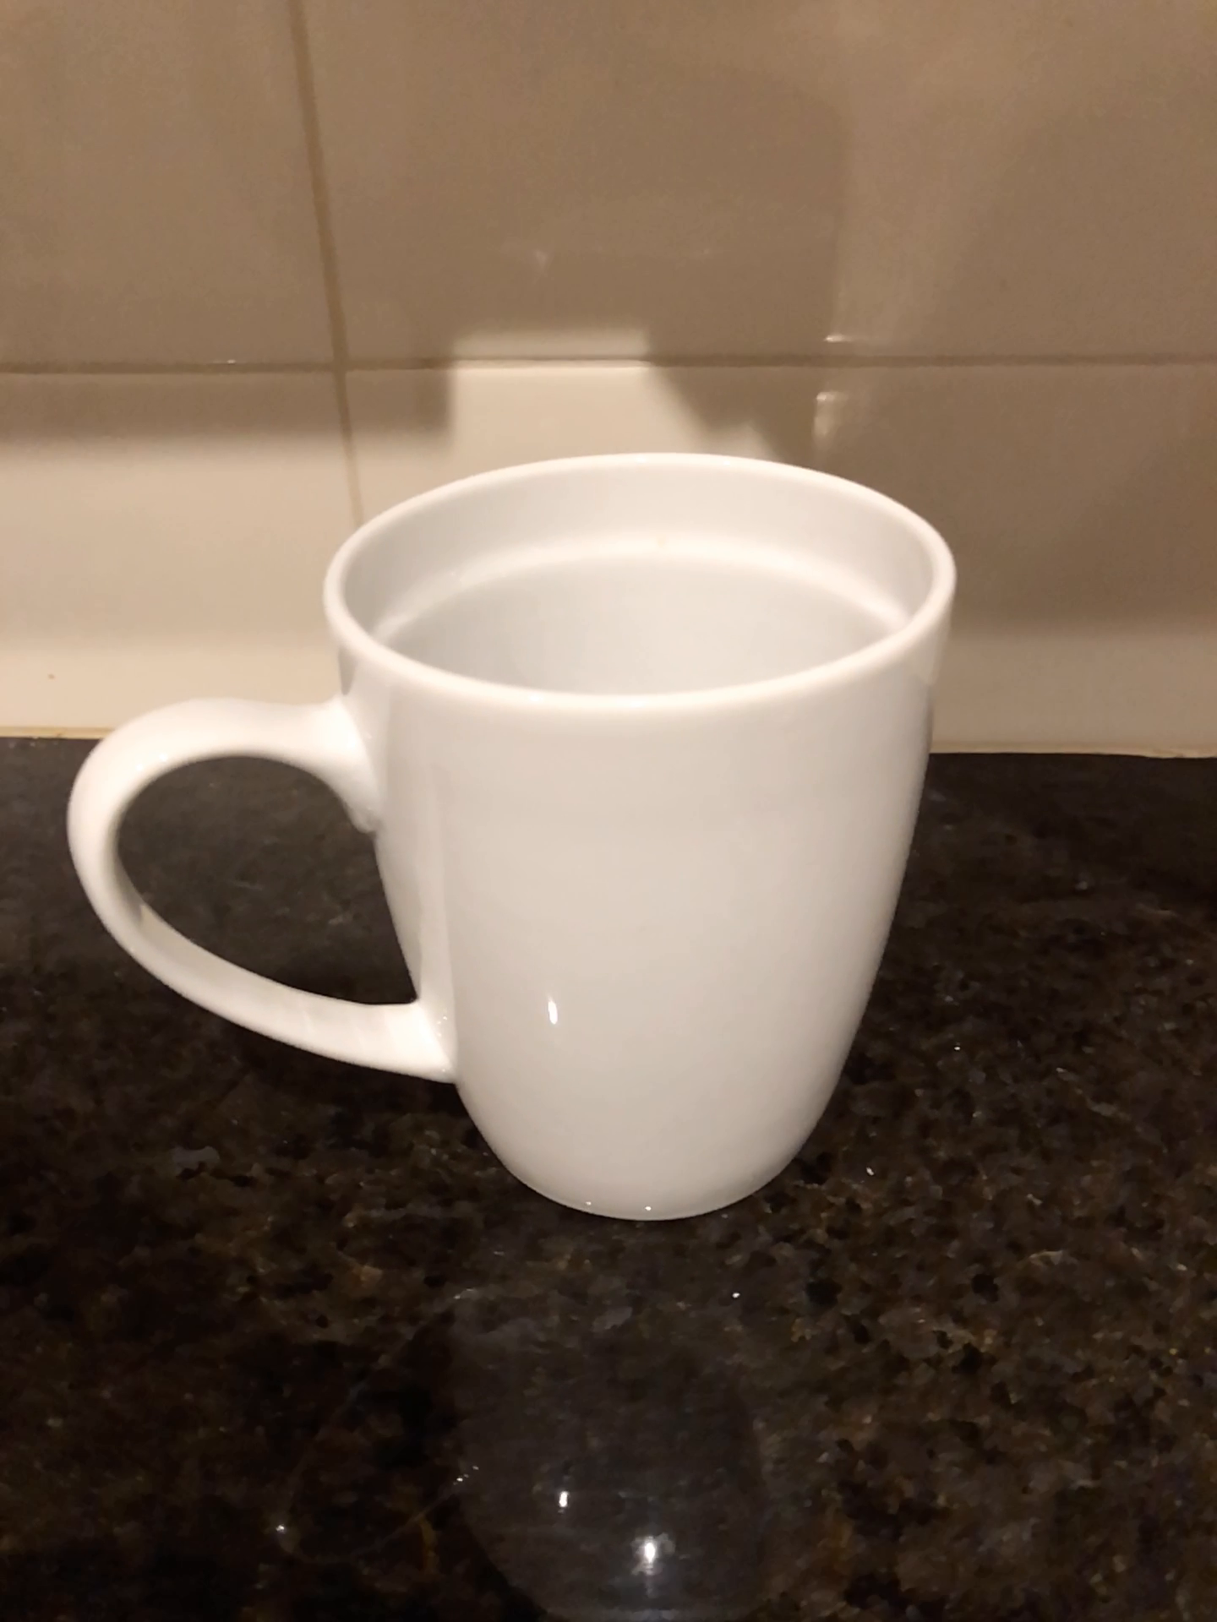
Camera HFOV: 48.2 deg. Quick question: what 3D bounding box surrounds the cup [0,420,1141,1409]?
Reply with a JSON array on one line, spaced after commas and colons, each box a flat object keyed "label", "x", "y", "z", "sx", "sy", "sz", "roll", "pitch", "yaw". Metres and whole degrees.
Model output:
[{"label": "cup", "x": -0.012, "y": 0.005, "z": 0.205, "sx": 0.130, "sy": 0.090, "sz": 0.090, "roll": -11, "pitch": 33, "yaw": -14}]
